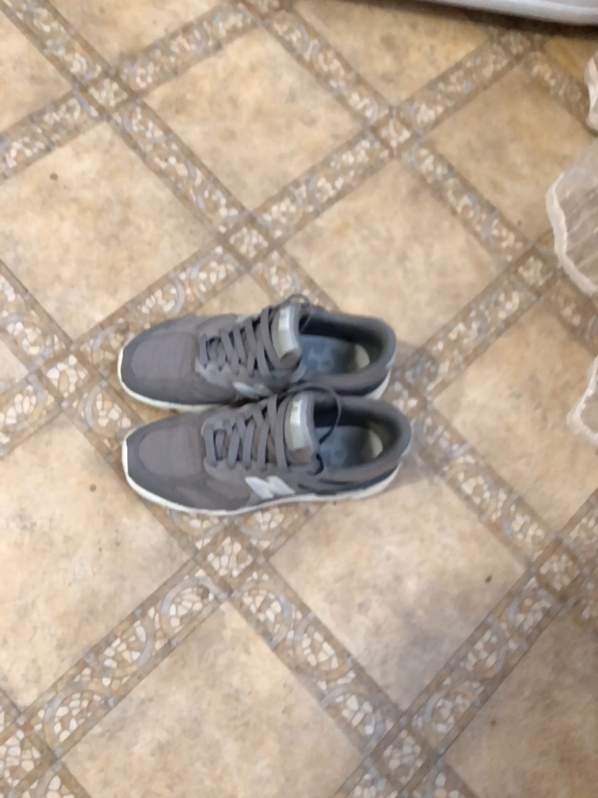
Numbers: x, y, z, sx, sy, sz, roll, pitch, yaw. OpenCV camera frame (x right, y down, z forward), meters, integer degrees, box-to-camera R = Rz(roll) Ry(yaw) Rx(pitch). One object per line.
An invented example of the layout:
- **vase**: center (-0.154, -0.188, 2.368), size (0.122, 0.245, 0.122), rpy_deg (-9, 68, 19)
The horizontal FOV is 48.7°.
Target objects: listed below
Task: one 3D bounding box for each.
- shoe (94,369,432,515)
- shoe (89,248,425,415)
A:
- **shoe**: center (-0.035, 0.041, 0.595), size (0.270, 0.120, 0.100), rpy_deg (-1, 74, -10)
- **shoe**: center (-0.039, -0.053, 0.600), size (0.270, 0.120, 0.100), rpy_deg (2, 73, -9)
